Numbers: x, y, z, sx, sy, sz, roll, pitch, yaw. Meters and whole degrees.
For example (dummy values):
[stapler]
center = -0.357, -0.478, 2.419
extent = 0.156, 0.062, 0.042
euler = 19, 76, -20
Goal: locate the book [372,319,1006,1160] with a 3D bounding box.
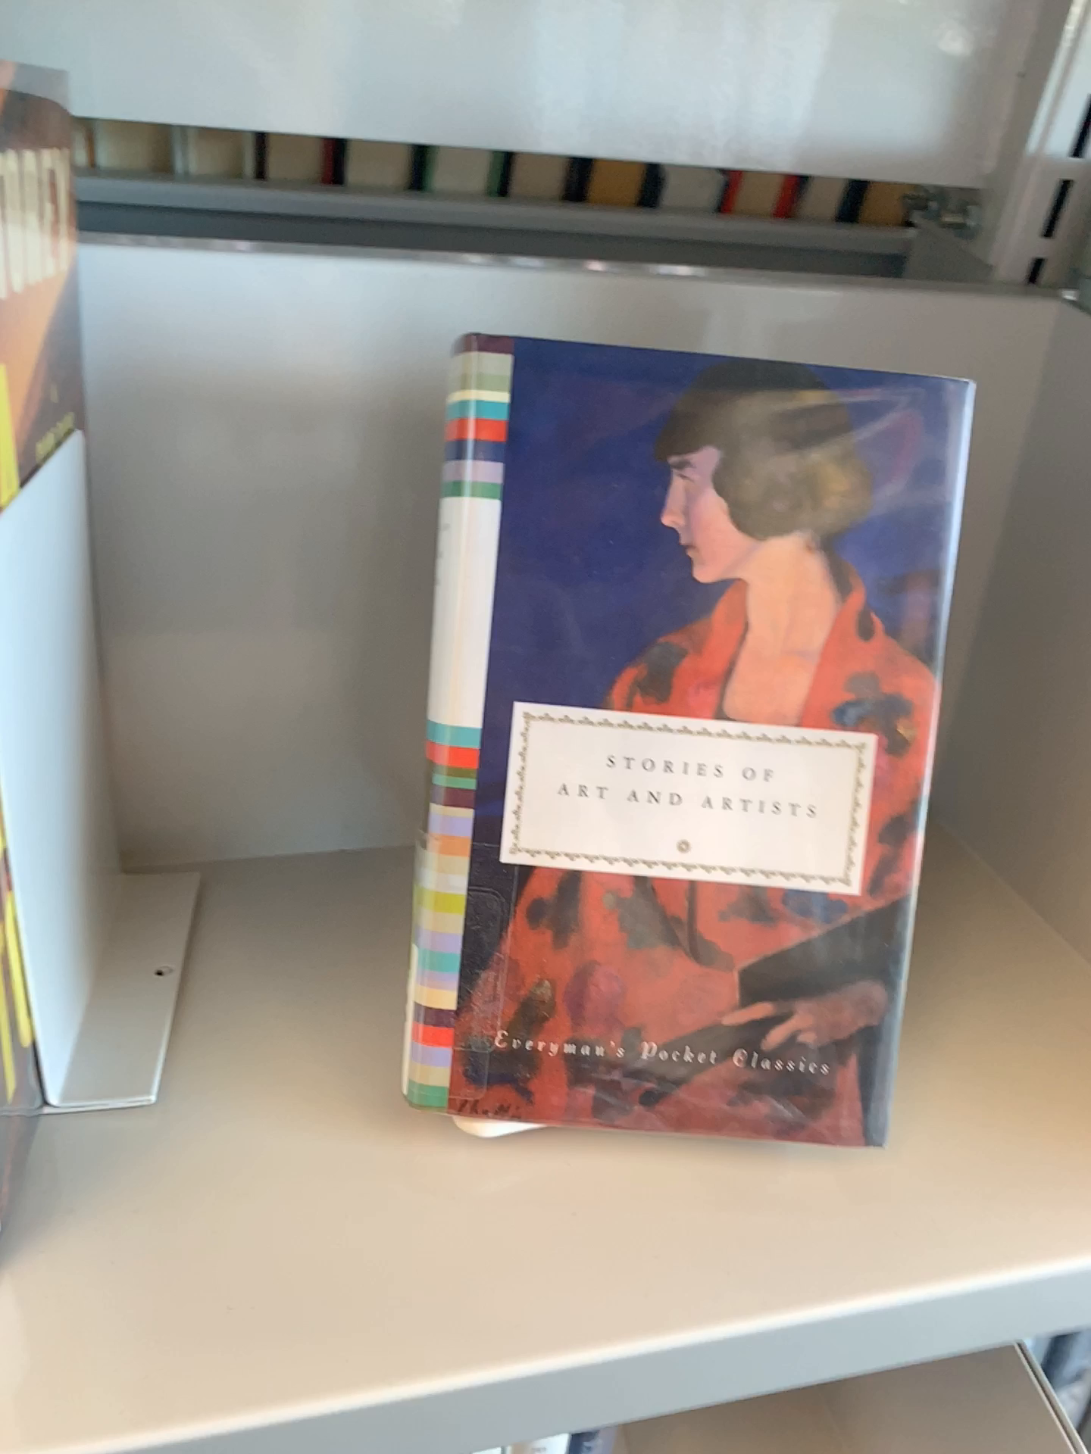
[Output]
[book]
center = 0.031, 0.004, 0.286
extent = 0.129, 0.187, 0.040
euler = 6, 6, -1
